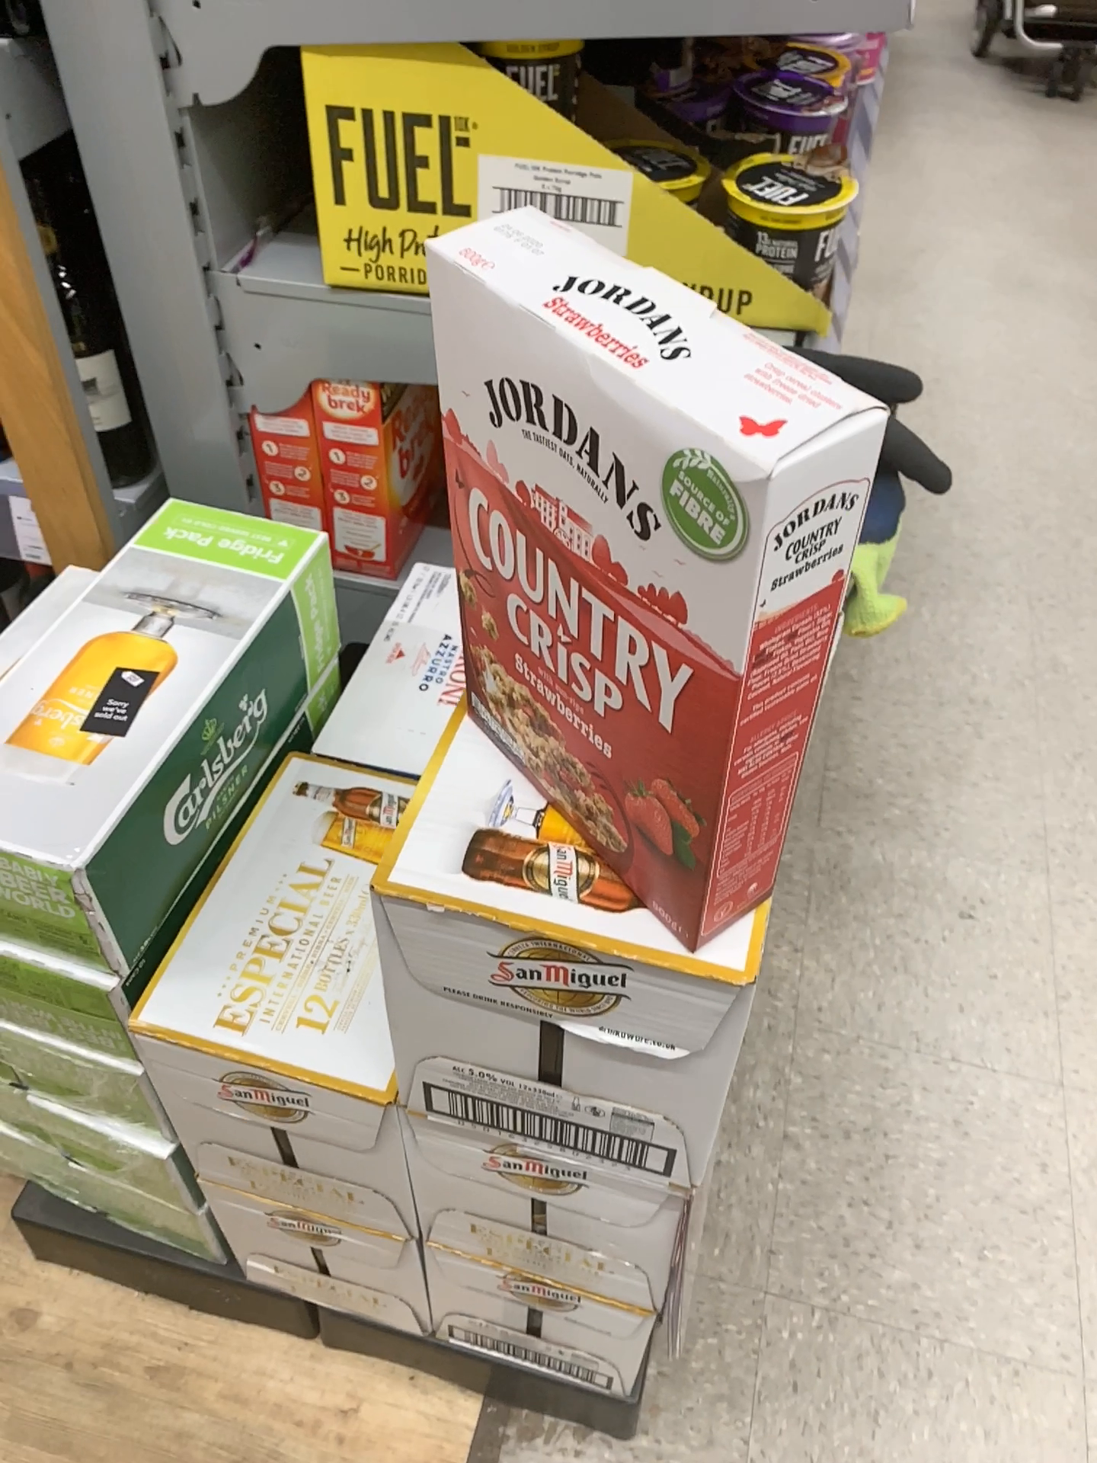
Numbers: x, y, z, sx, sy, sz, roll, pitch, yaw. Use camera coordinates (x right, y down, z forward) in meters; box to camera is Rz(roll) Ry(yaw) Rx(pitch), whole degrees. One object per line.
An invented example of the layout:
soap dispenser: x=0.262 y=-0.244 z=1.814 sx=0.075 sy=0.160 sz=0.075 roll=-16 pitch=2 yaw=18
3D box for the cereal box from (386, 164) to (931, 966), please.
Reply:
cereal box: x=0.025 y=-0.056 z=0.442 sx=0.060 sy=0.248 sz=0.191 roll=-29 pitch=54 yaw=-23
